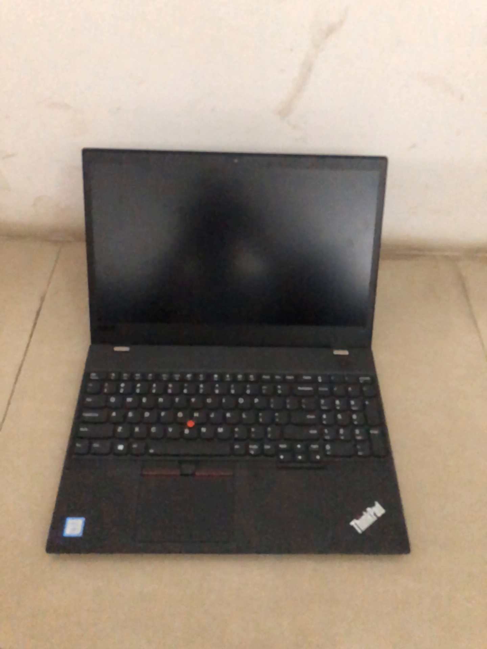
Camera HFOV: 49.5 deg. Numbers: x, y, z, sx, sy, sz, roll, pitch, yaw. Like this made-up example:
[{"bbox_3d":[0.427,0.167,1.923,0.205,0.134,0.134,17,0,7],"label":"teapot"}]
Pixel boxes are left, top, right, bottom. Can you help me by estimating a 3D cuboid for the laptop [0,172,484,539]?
[{"bbox_3d":[-0.015,0.019,0.564,0.344,0.192,0.364,1,47,-4],"label":"laptop"}]
